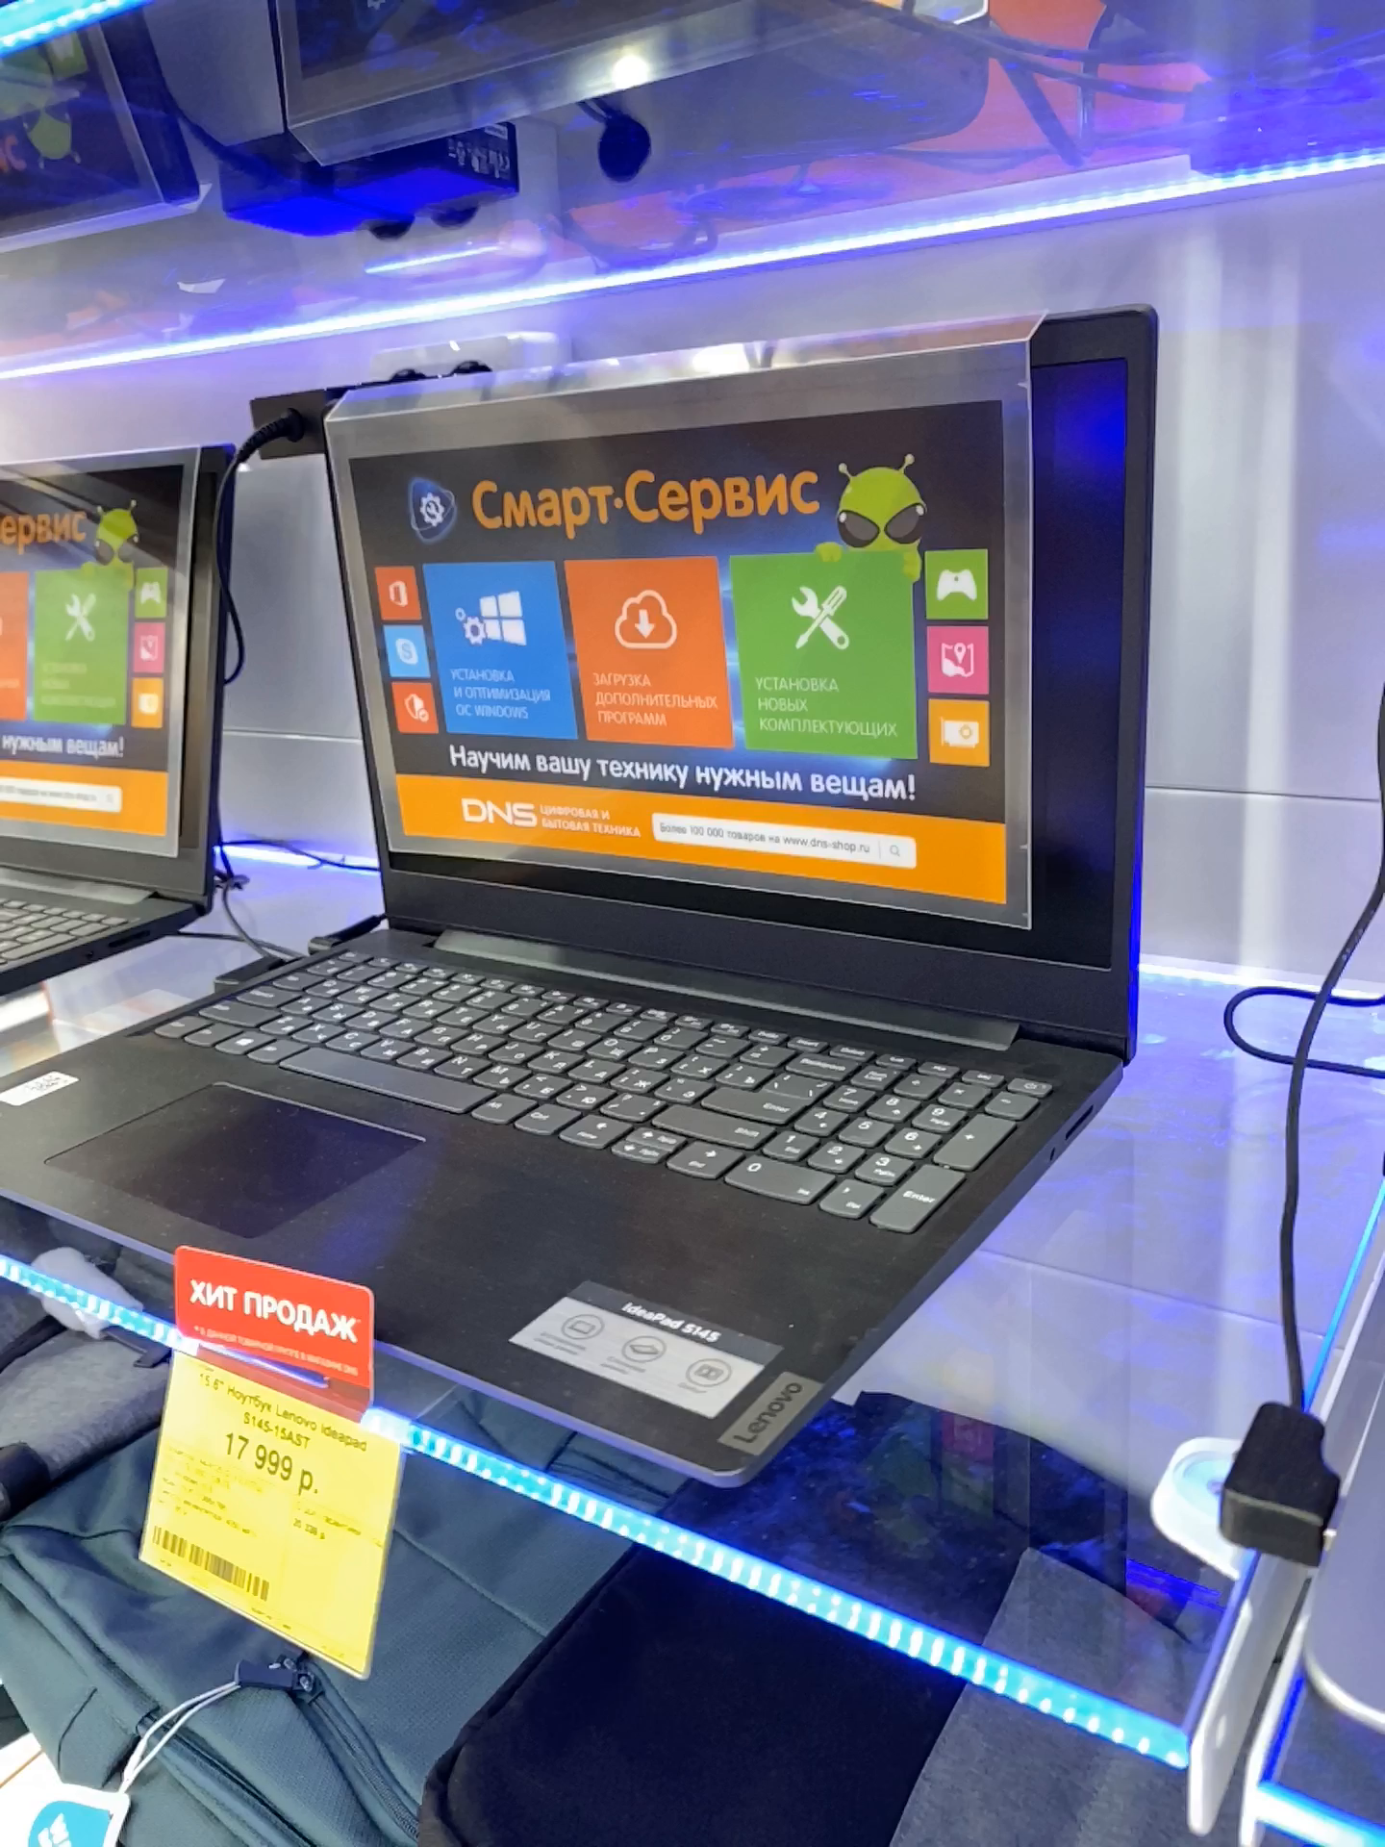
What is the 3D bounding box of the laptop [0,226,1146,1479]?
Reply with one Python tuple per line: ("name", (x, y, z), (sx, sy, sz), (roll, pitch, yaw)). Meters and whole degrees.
("laptop", (-0.075, -0.055, 0.465), (0.362, 0.239, 0.257), (8, 20, 34))
